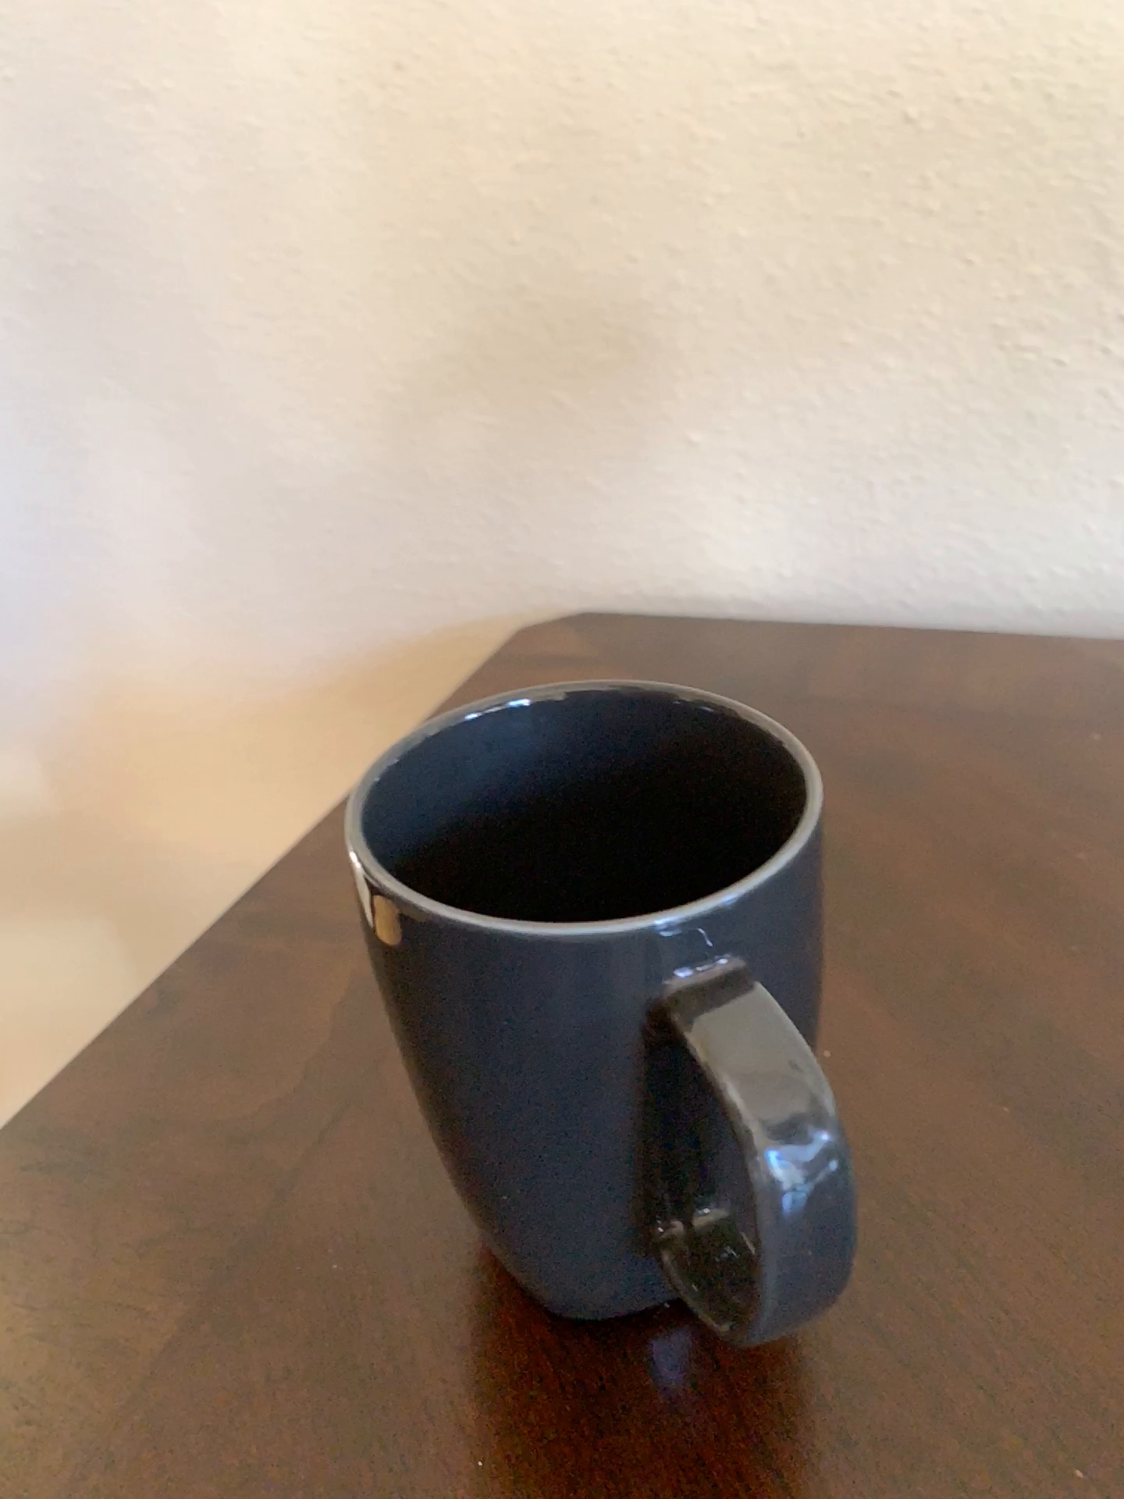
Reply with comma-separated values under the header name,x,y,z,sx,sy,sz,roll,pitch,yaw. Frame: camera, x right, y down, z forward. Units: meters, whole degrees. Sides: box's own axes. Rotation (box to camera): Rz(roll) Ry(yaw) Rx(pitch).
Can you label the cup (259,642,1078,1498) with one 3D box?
name,x,y,z,sx,sy,sz,roll,pitch,yaw
cup,0.012,0.052,0.209,0.089,0.096,0.107,-18,29,-20
